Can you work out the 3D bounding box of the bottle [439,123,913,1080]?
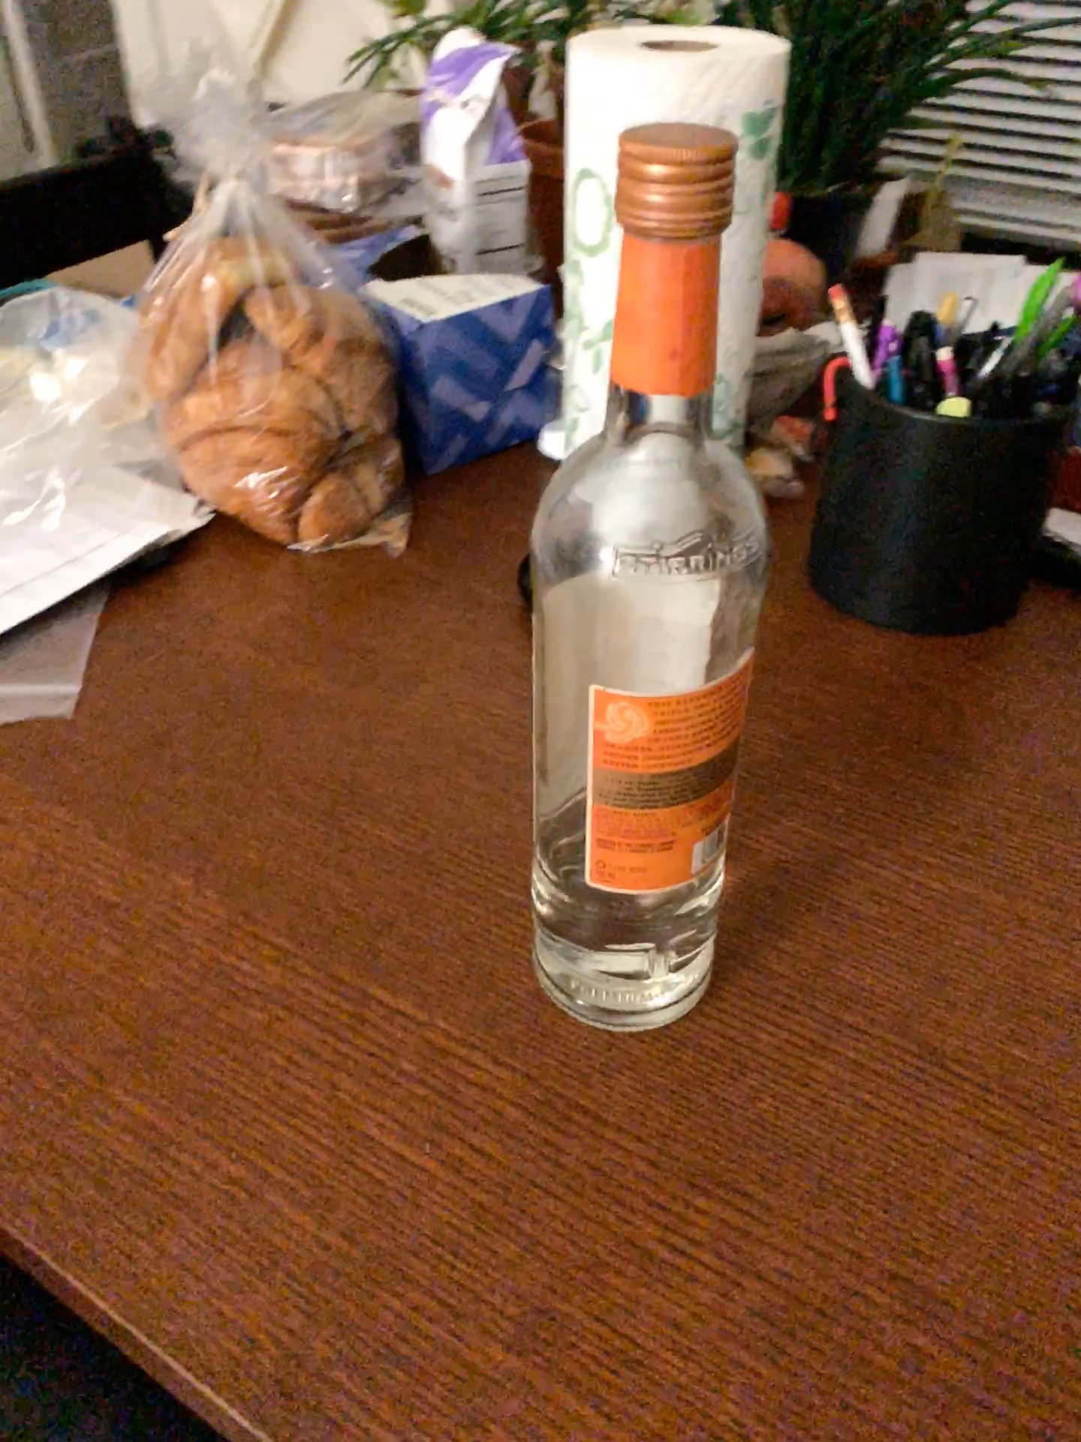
[{"bbox_3d":[0.027,-0.015,0.357,0.090,0.298,0.081,-9,39,-12],"label":"bottle"}]
